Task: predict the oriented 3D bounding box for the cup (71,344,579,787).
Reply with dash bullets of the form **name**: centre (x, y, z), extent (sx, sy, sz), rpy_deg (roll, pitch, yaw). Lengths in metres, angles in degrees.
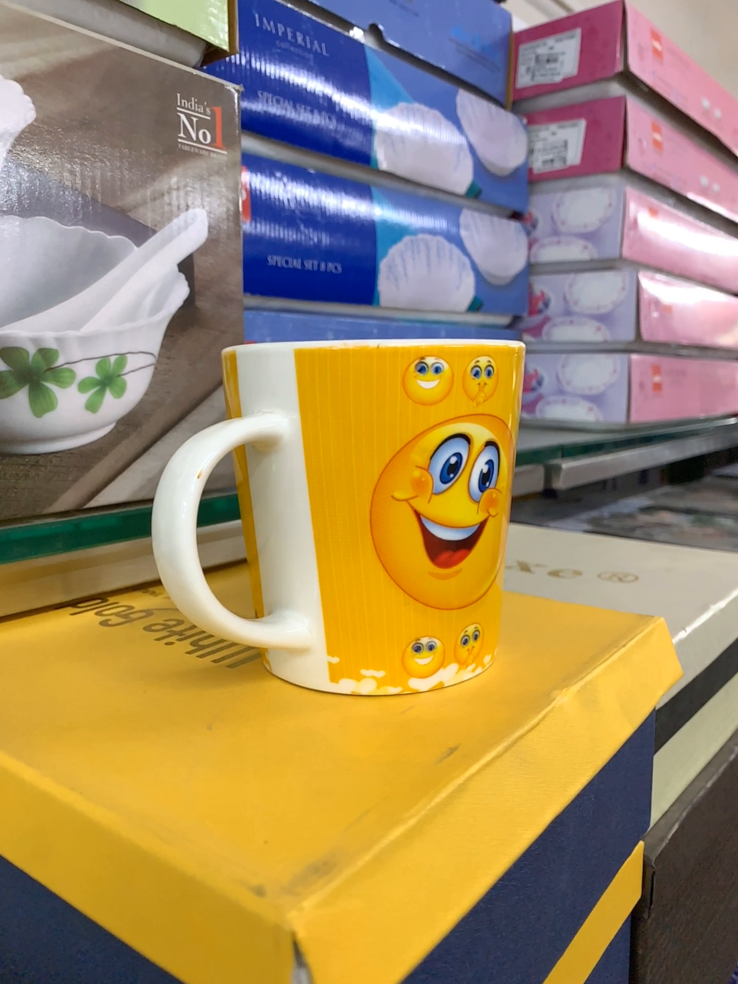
- **cup**: centre (-0.010, 0.007, 0.217), extent (0.120, 0.090, 0.070), rpy_deg (-6, 10, -38)
